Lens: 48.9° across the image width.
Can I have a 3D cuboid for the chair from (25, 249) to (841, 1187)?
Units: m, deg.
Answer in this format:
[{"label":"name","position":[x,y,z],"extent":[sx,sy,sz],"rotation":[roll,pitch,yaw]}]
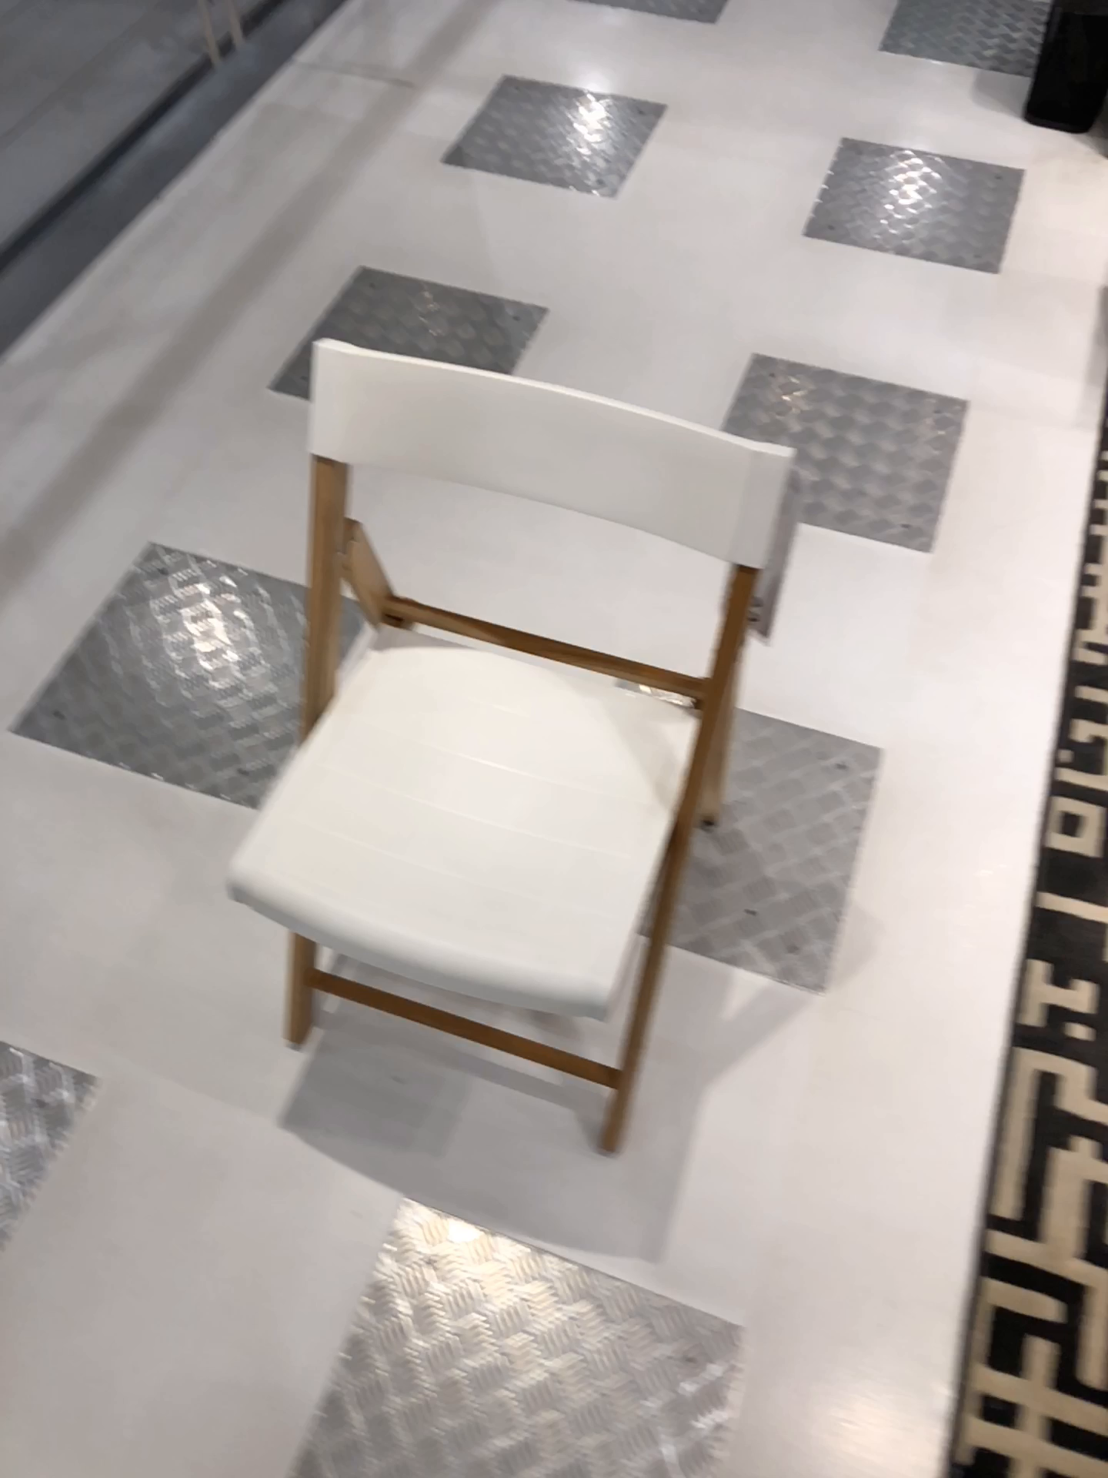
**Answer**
[{"label":"chair","position":[-0.058,0.013,1.249],"extent":[0.470,0.707,0.552],"rotation":[15,56,11]}]
